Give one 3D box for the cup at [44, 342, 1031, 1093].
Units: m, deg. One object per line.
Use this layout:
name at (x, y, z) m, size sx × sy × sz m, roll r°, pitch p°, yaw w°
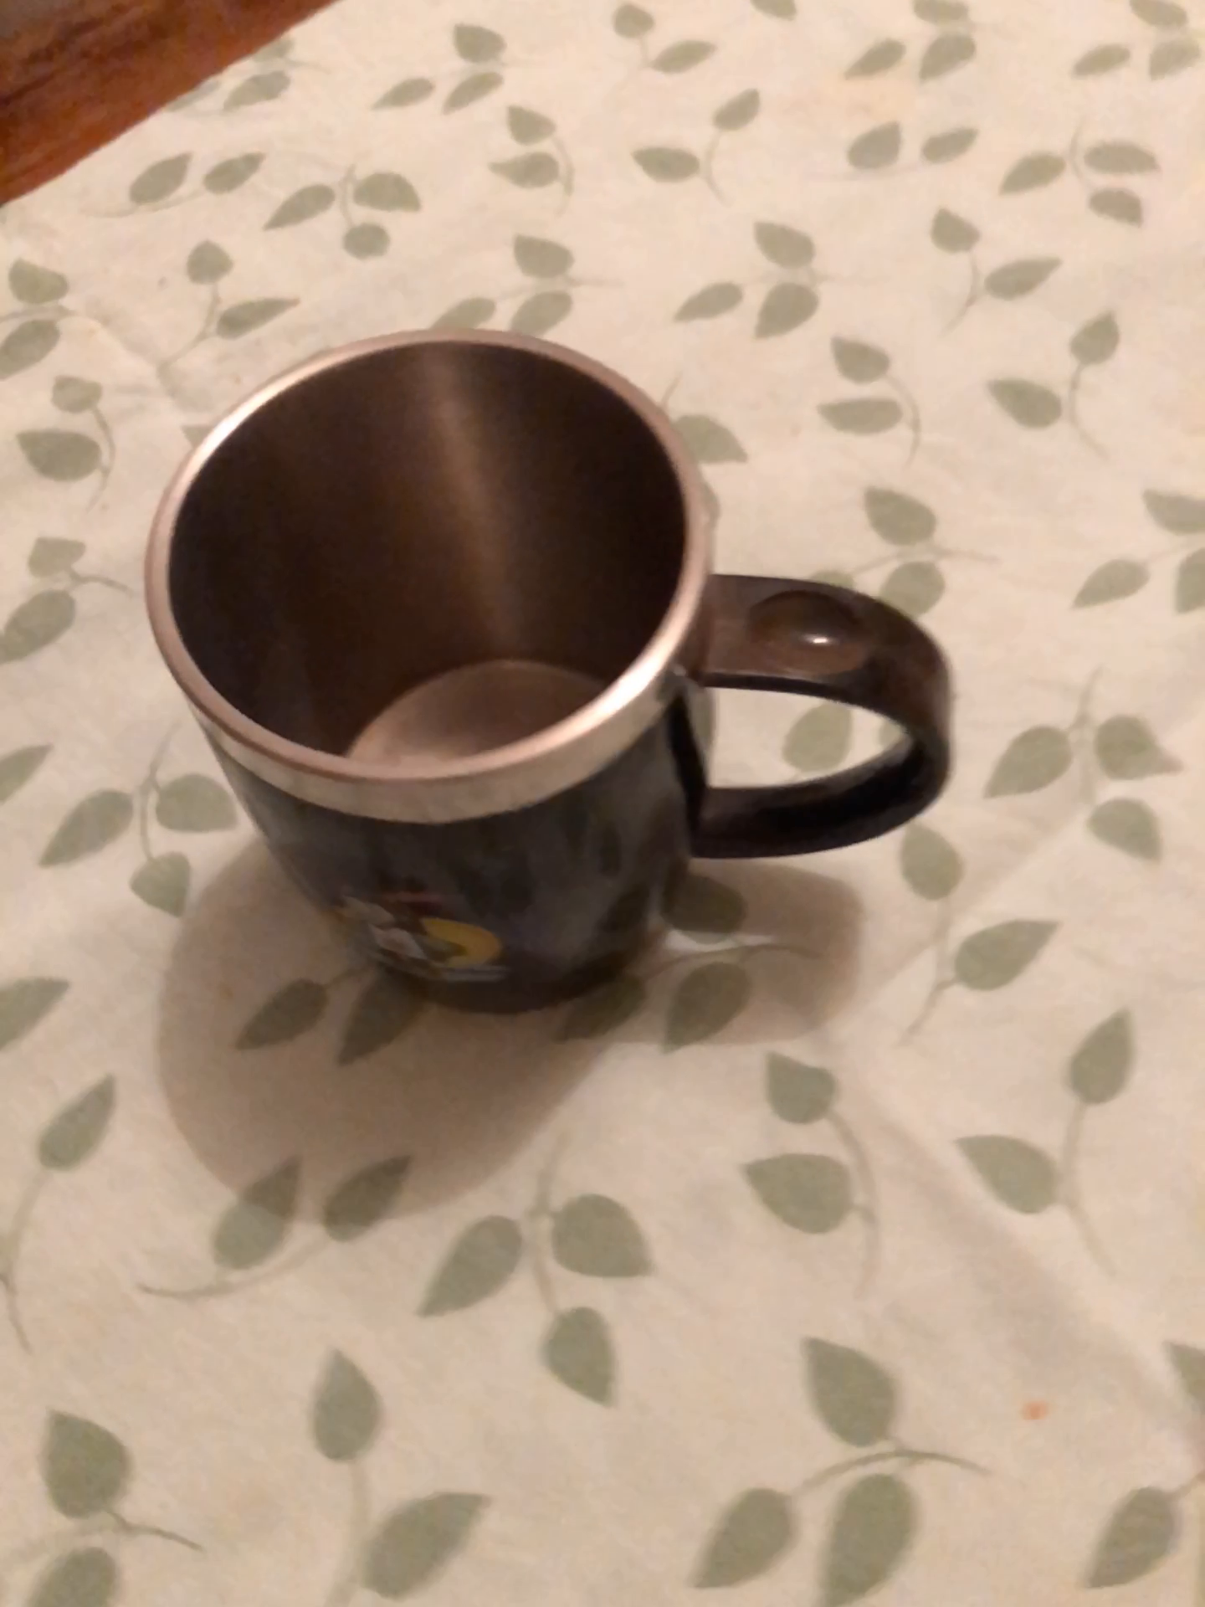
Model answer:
cup at (-0.006, -0.007, 0.251) m, size 0.130 × 0.120 × 0.090 m, roll 0°, pitch 64°, yaw 3°
